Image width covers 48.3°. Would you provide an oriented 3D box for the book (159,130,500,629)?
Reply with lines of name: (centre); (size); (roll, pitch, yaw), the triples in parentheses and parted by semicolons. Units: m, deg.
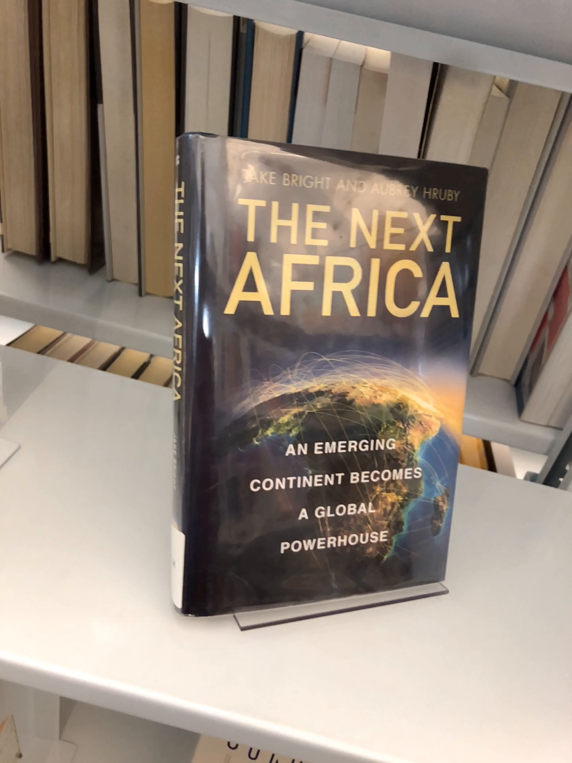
book: (0.020, 0.002, 0.307); (0.153, 0.211, 0.030); (-1, 10, -21)
